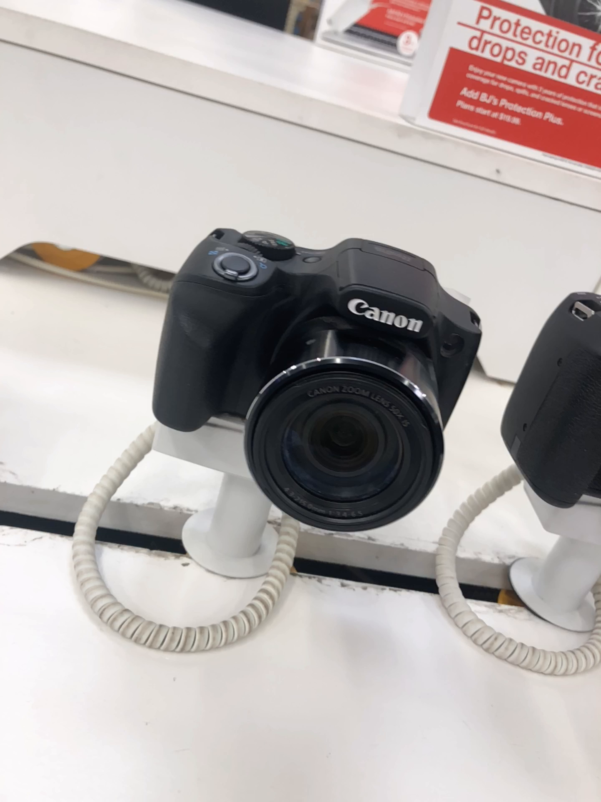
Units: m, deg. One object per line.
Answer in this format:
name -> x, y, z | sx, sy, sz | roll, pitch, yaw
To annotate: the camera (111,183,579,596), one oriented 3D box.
camera -> 0.011, -0.007, 0.238 | 0.120, 0.089, 0.081 | 17, 29, -3
